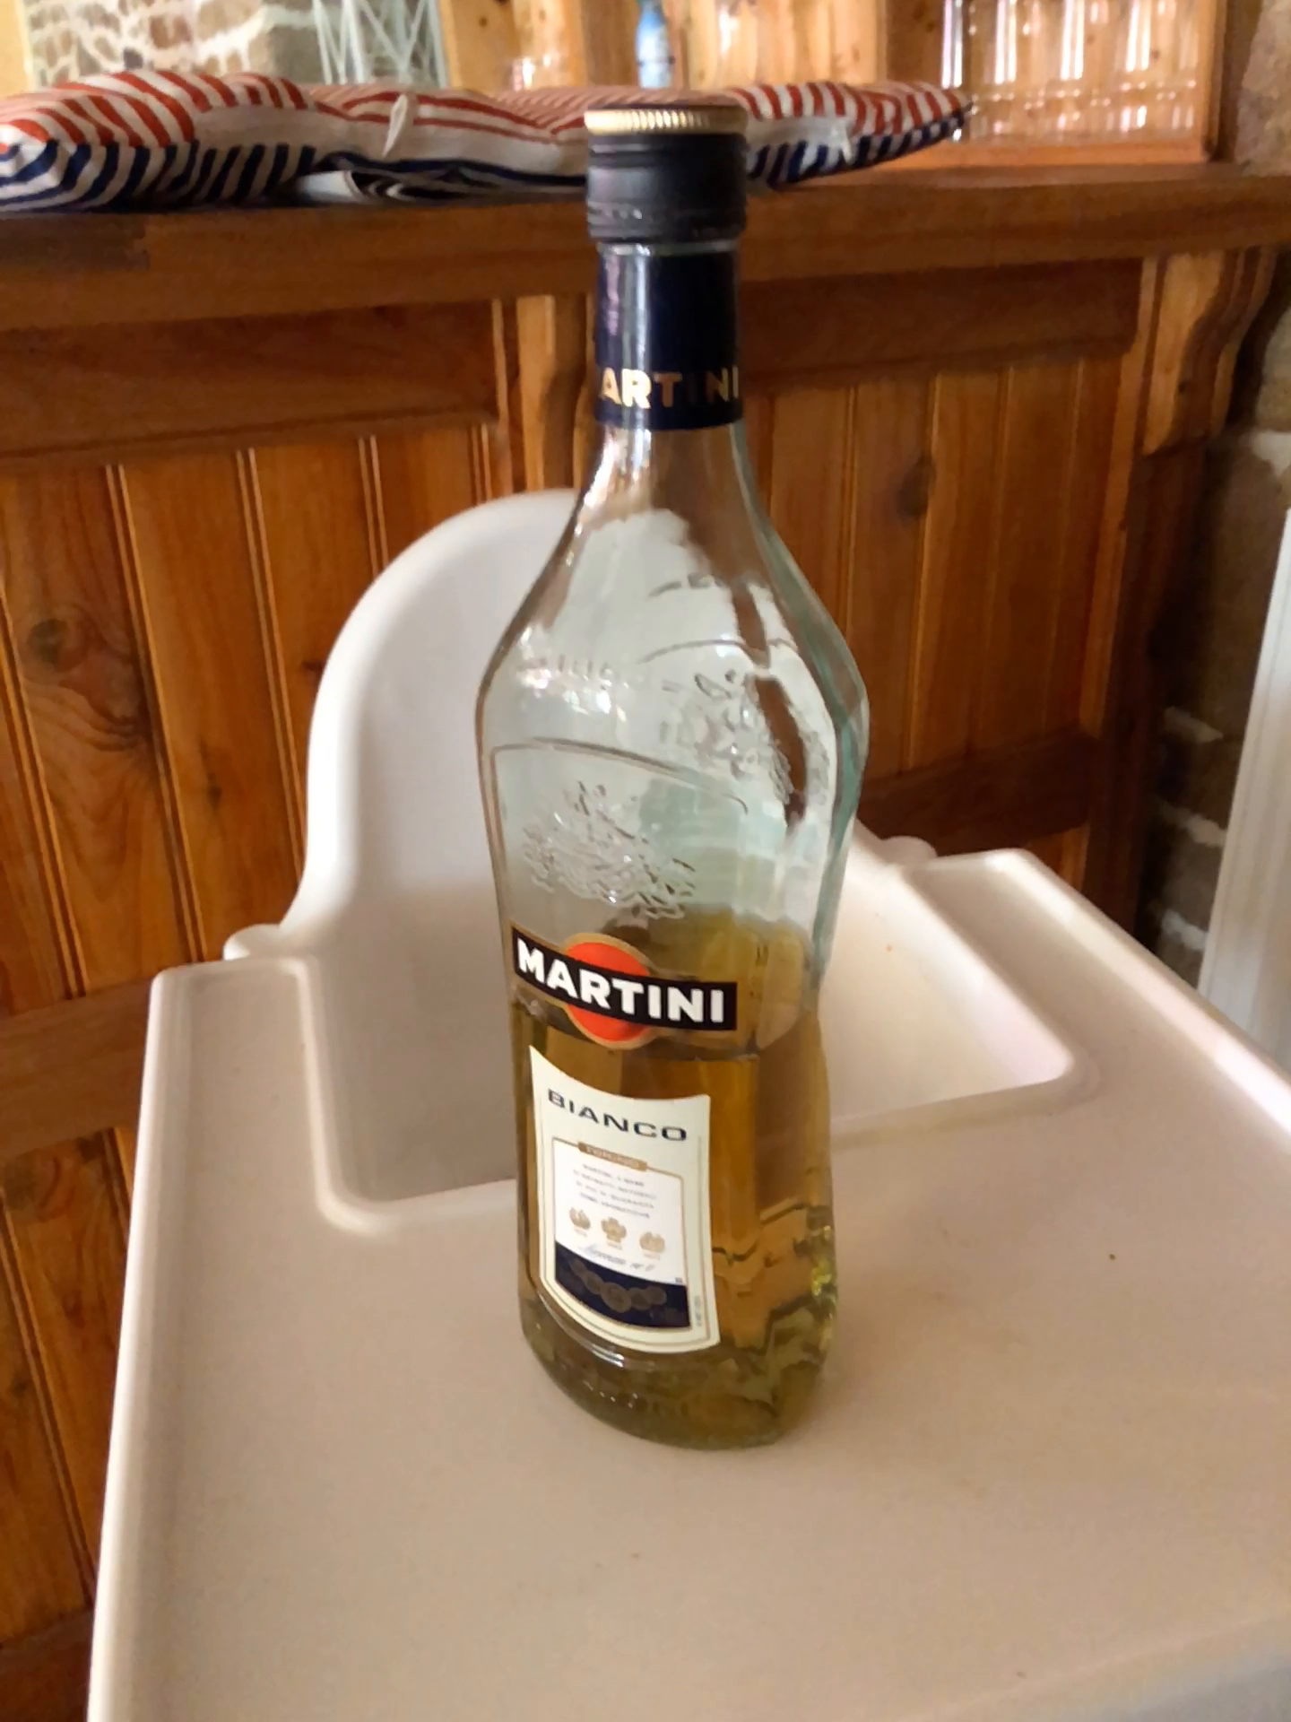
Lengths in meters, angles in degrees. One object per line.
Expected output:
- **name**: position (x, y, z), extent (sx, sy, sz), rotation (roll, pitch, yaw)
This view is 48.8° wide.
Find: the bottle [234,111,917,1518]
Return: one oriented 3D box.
- **bottle**: position (-0.010, -0.003, 0.352), extent (0.110, 0.318, 0.080), rotation (14, 30, 29)
